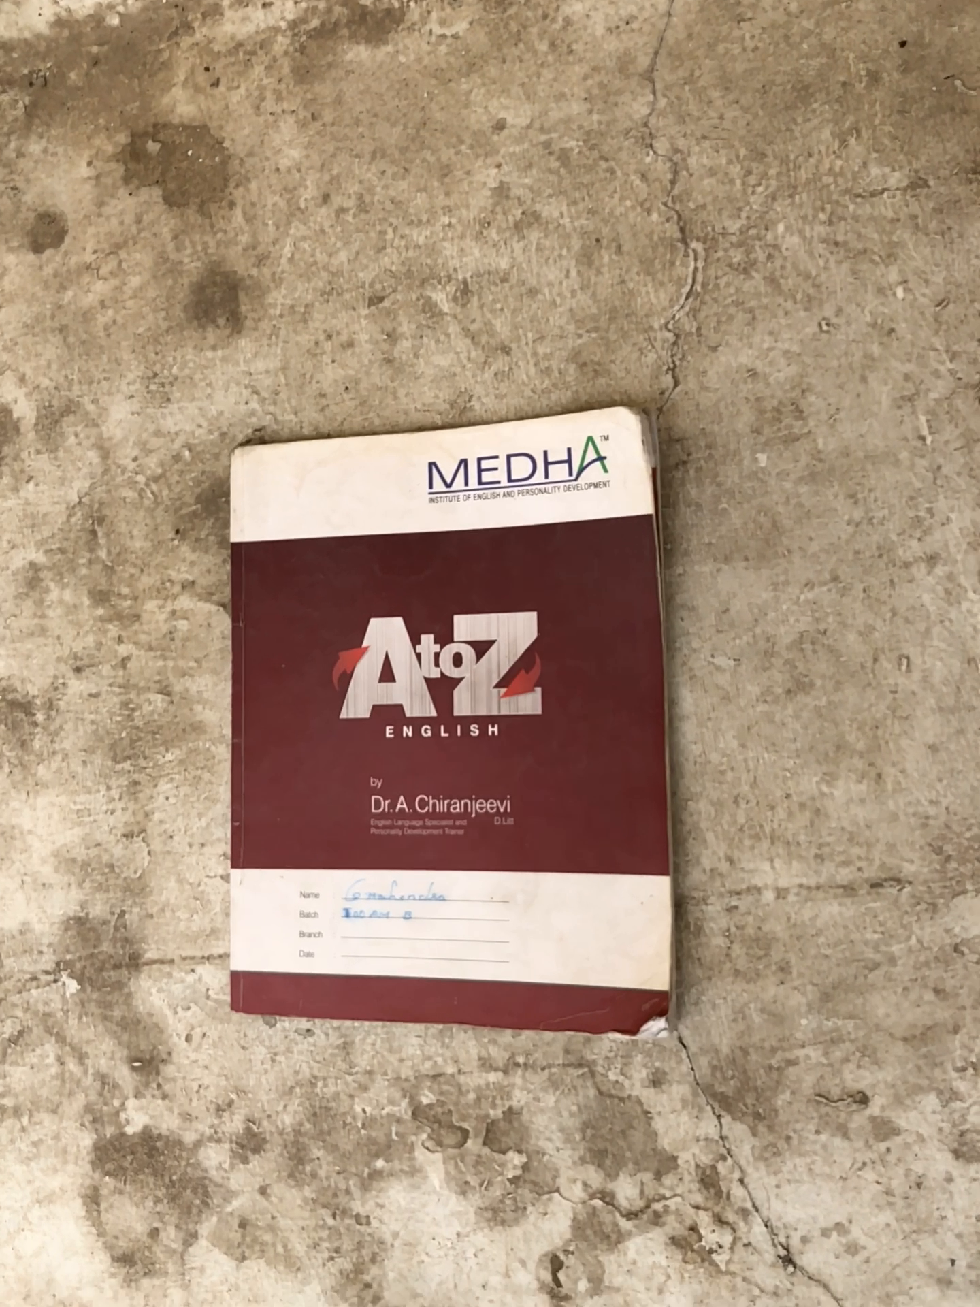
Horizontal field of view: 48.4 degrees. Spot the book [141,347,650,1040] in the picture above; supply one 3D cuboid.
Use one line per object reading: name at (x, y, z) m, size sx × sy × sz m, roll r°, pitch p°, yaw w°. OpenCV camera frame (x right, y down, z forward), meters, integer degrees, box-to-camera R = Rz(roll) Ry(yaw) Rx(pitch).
book at (-0.045, 0.017, 0.482) m, size 0.220 × 0.030 × 0.280 m, roll -2°, pitch 84°, yaw 15°
